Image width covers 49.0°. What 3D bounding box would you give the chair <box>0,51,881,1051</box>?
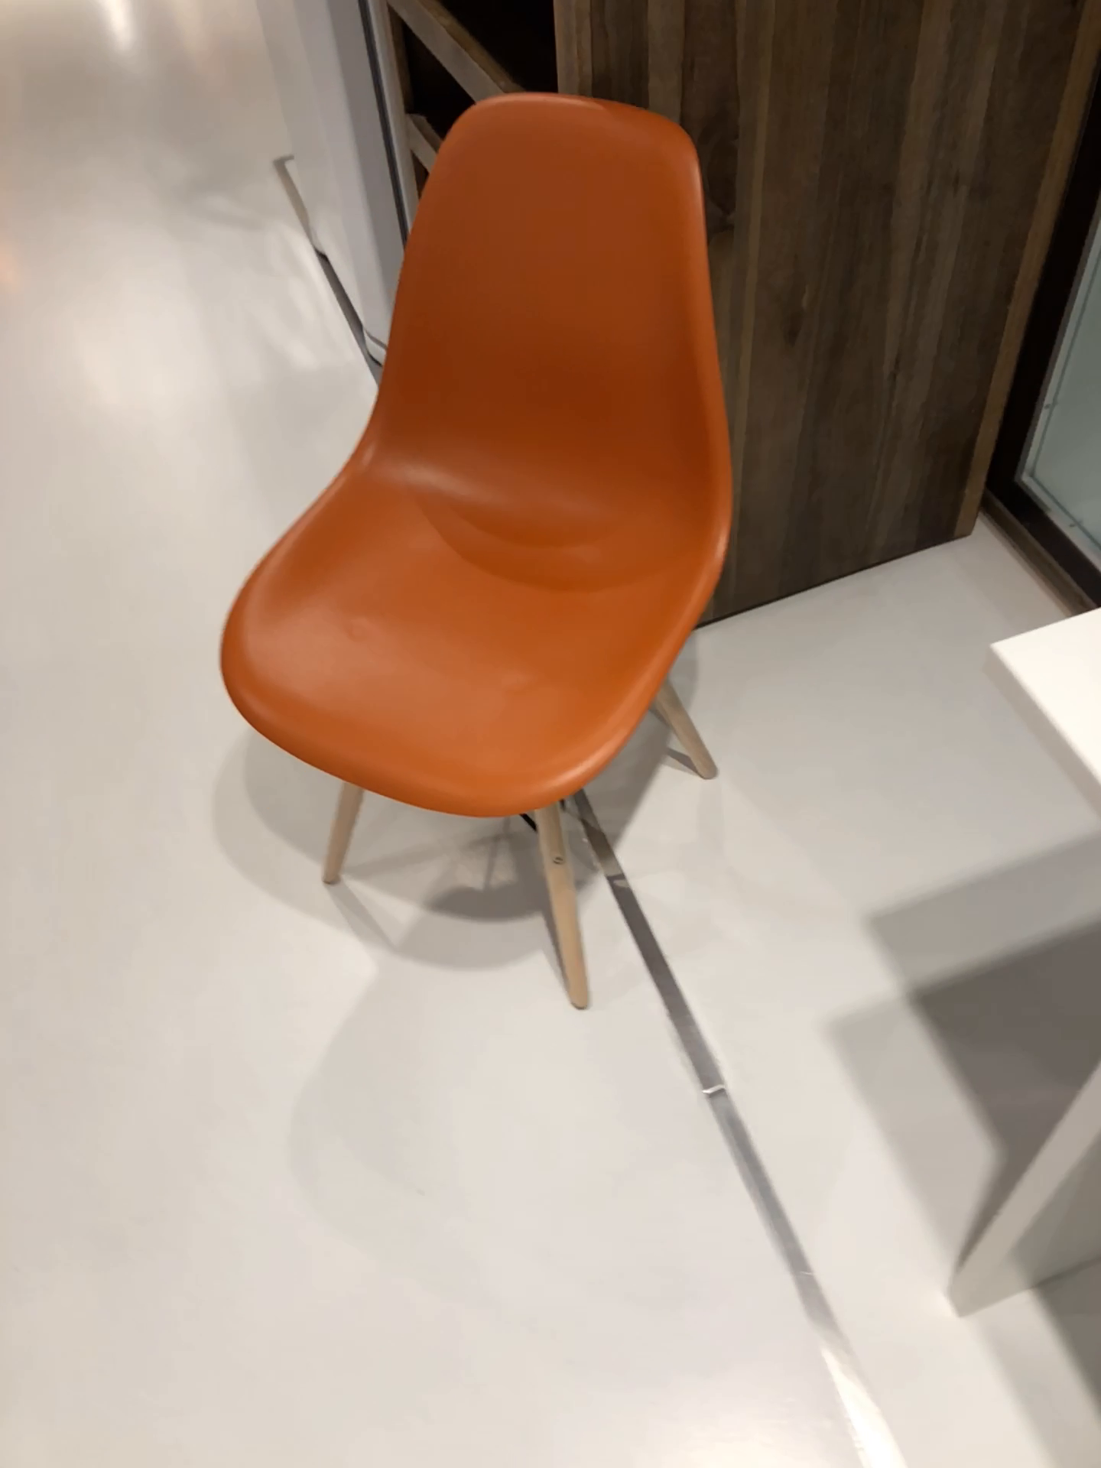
[{"bbox_3d":[-0.042,-0.172,1.281,0.491,0.745,0.583,22,57,20],"label":"chair"}]
